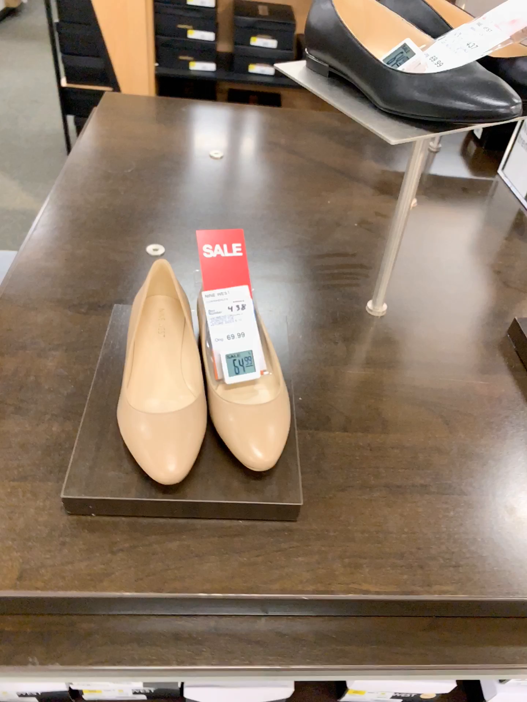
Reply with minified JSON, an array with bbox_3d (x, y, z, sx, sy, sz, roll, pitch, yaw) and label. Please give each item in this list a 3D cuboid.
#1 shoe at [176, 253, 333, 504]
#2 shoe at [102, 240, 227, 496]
[{"bbox_3d":[-0.023,0.011,0.532,0.090,0.080,0.251,-6,45,-14],"label":"shoe"},{"bbox_3d":[-0.099,0.000,0.511,0.090,0.080,0.251,-3,45,-12],"label":"shoe"}]
